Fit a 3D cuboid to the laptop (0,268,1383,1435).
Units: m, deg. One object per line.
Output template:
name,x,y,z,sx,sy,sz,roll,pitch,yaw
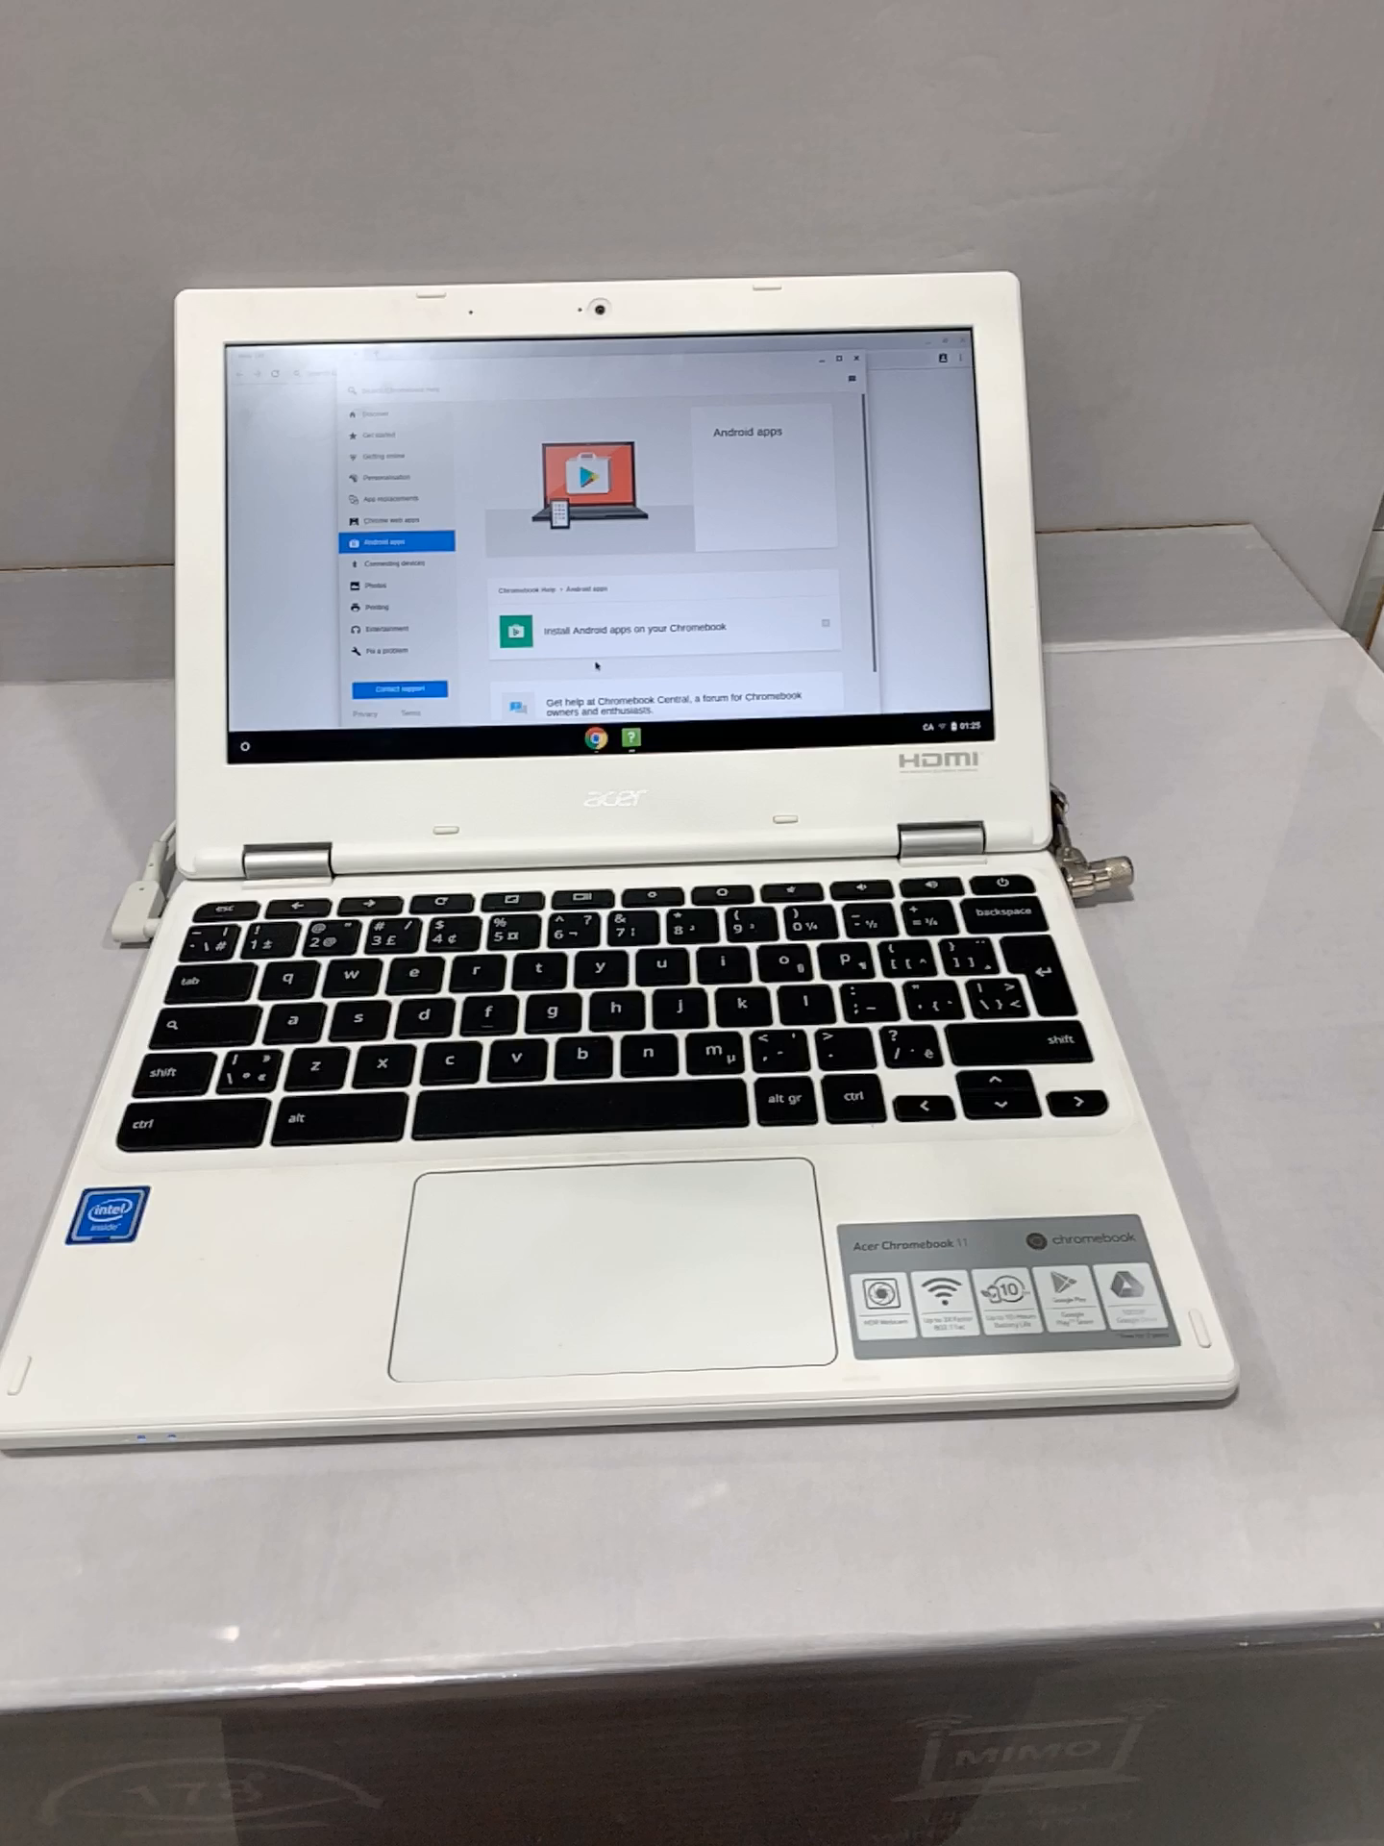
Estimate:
laptop,-0.024,-0.052,0.398,0.282,0.132,0.330,-2,43,-1
